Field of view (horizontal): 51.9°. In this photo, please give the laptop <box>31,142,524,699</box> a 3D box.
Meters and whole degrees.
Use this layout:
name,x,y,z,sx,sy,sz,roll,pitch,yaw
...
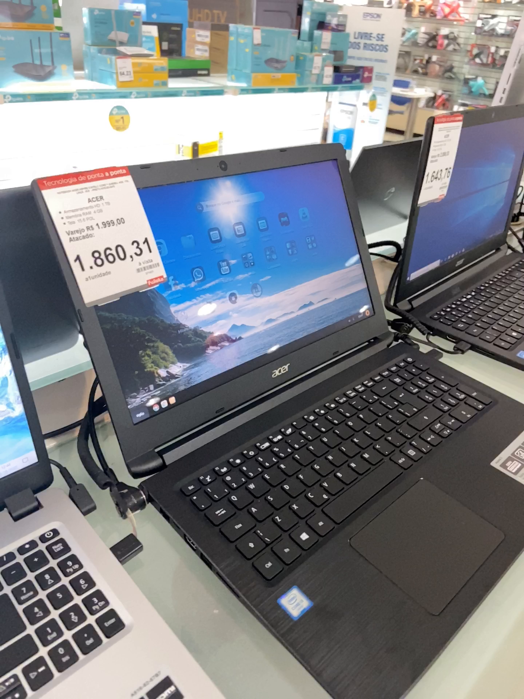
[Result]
name,x,y,z,sx,sy,sz,roll,pitch,yaw
laptop,0.078,-0.019,0.478,0.380,0.215,0.380,-23,41,-37
